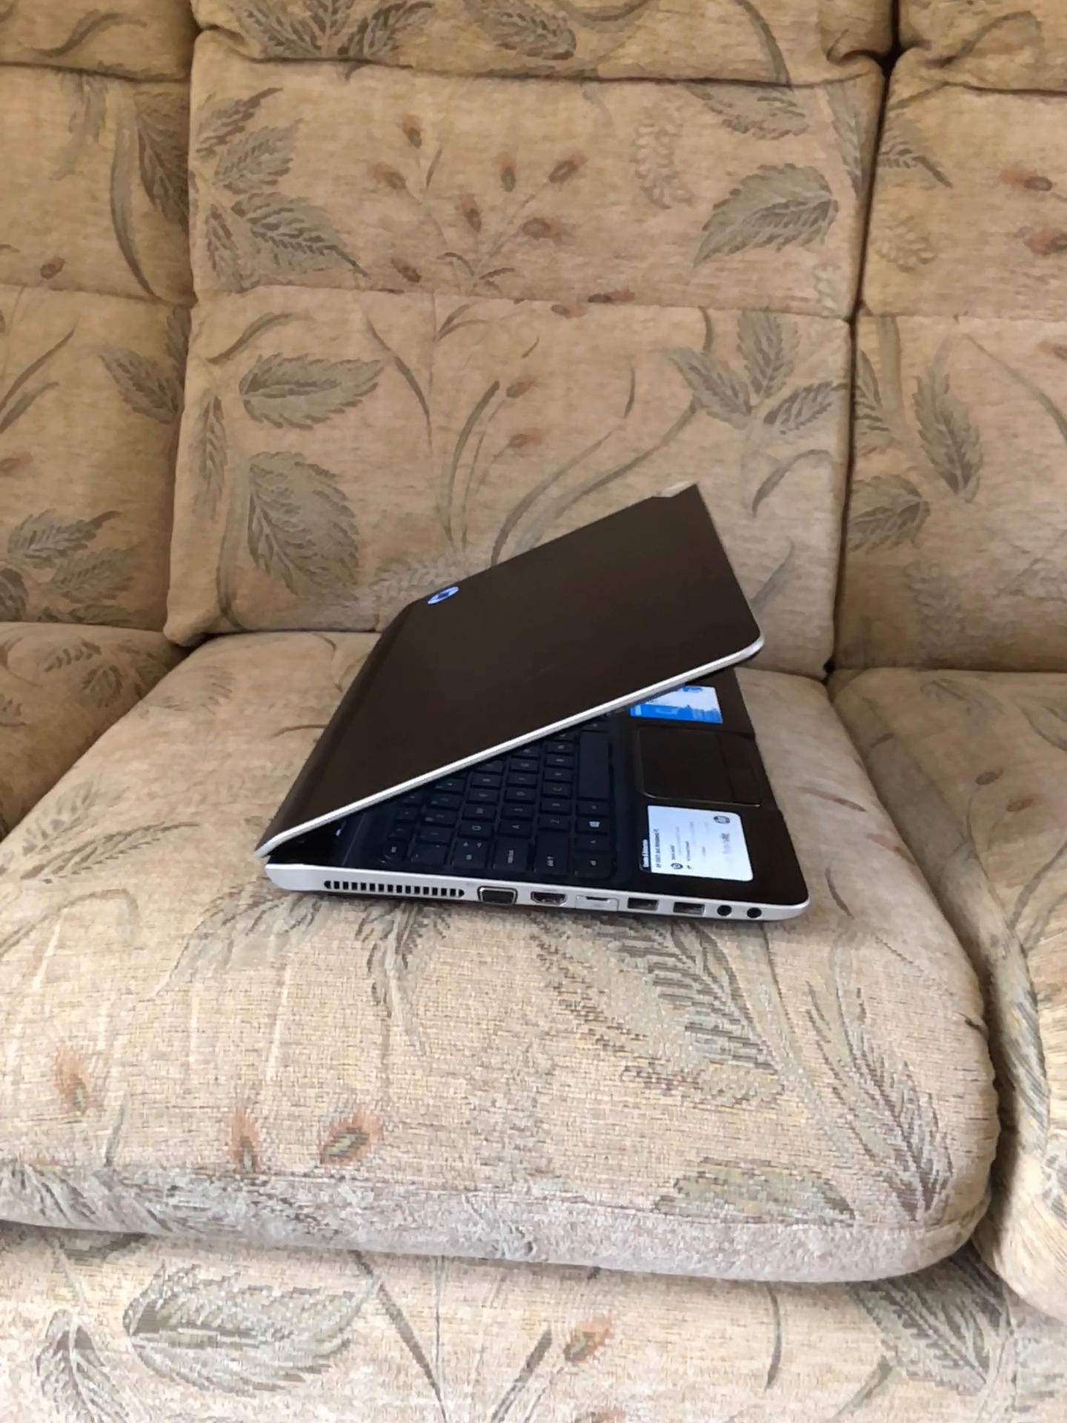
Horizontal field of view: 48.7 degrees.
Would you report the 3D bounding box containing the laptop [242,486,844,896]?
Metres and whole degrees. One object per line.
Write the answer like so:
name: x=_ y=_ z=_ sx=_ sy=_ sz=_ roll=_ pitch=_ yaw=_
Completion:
laptop: x=0.015 y=-0.040 z=0.711 sx=0.253 sy=0.113 sz=0.399 roll=3 pitch=21 yaw=2
